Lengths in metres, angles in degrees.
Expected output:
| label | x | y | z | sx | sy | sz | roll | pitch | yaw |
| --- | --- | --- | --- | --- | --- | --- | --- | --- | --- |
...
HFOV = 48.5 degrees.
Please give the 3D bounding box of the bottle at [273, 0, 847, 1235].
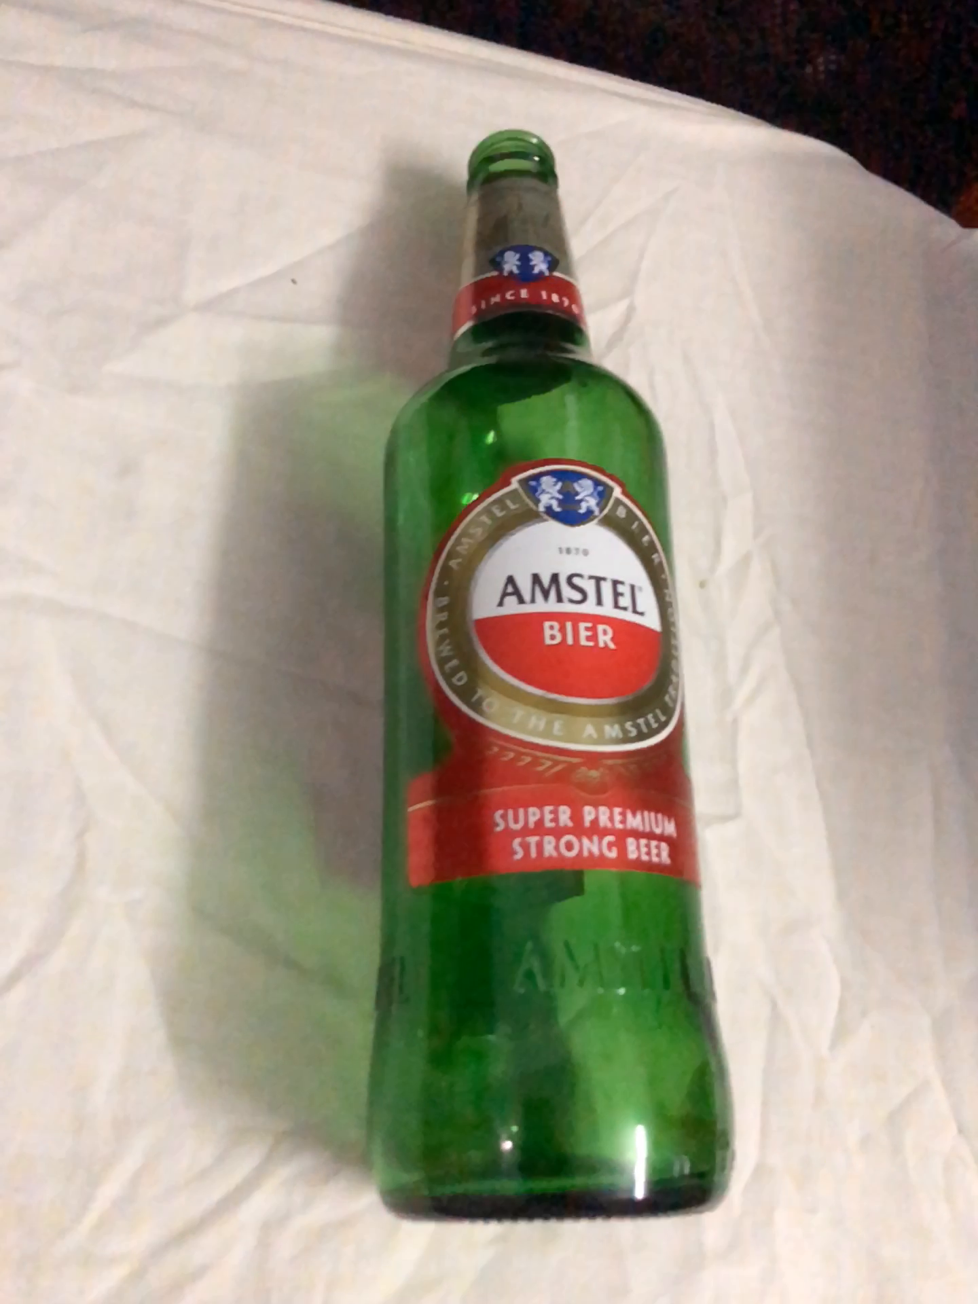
| label | x | y | z | sx | sy | sz | roll | pitch | yaw |
| --- | --- | --- | --- | --- | --- | --- | --- | --- | --- |
| bottle | -0.001 | -0.051 | 0.292 | 0.090 | 0.080 | 0.360 | 5 | 62 | -17 |
